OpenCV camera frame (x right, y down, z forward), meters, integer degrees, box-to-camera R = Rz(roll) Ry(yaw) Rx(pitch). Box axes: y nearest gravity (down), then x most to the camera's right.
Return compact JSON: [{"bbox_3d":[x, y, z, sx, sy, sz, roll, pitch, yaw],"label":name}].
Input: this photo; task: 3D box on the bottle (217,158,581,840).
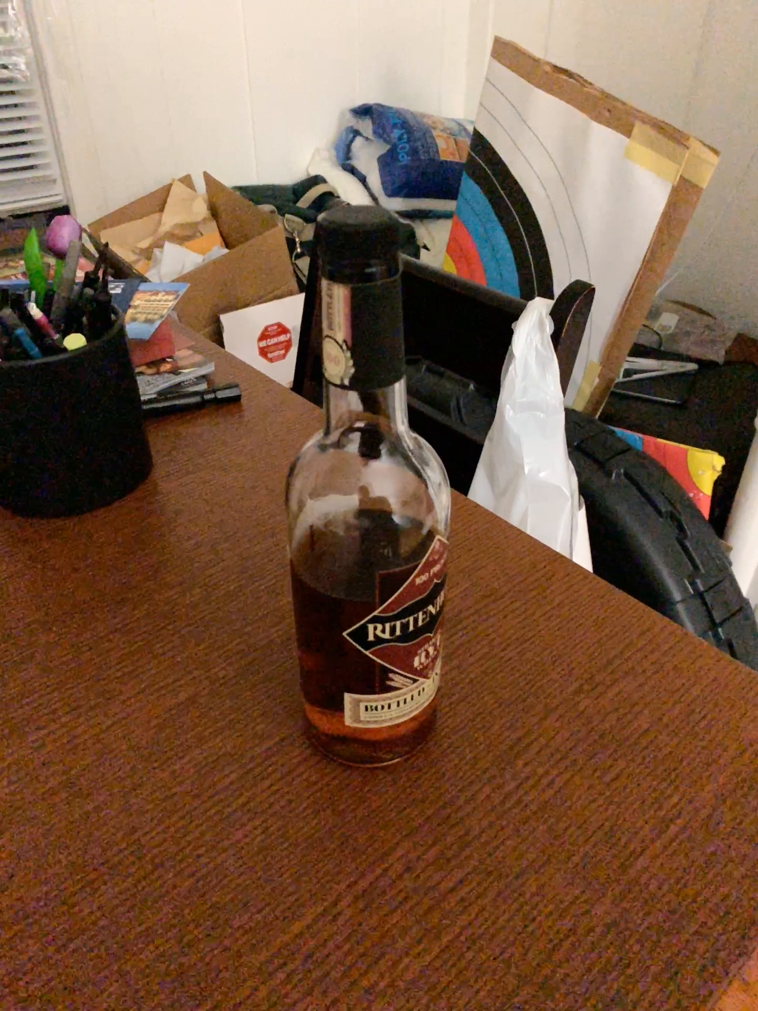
[{"bbox_3d":[0.009,0.012,0.352,0.090,0.288,0.090,0,36,0],"label":"bottle"}]
